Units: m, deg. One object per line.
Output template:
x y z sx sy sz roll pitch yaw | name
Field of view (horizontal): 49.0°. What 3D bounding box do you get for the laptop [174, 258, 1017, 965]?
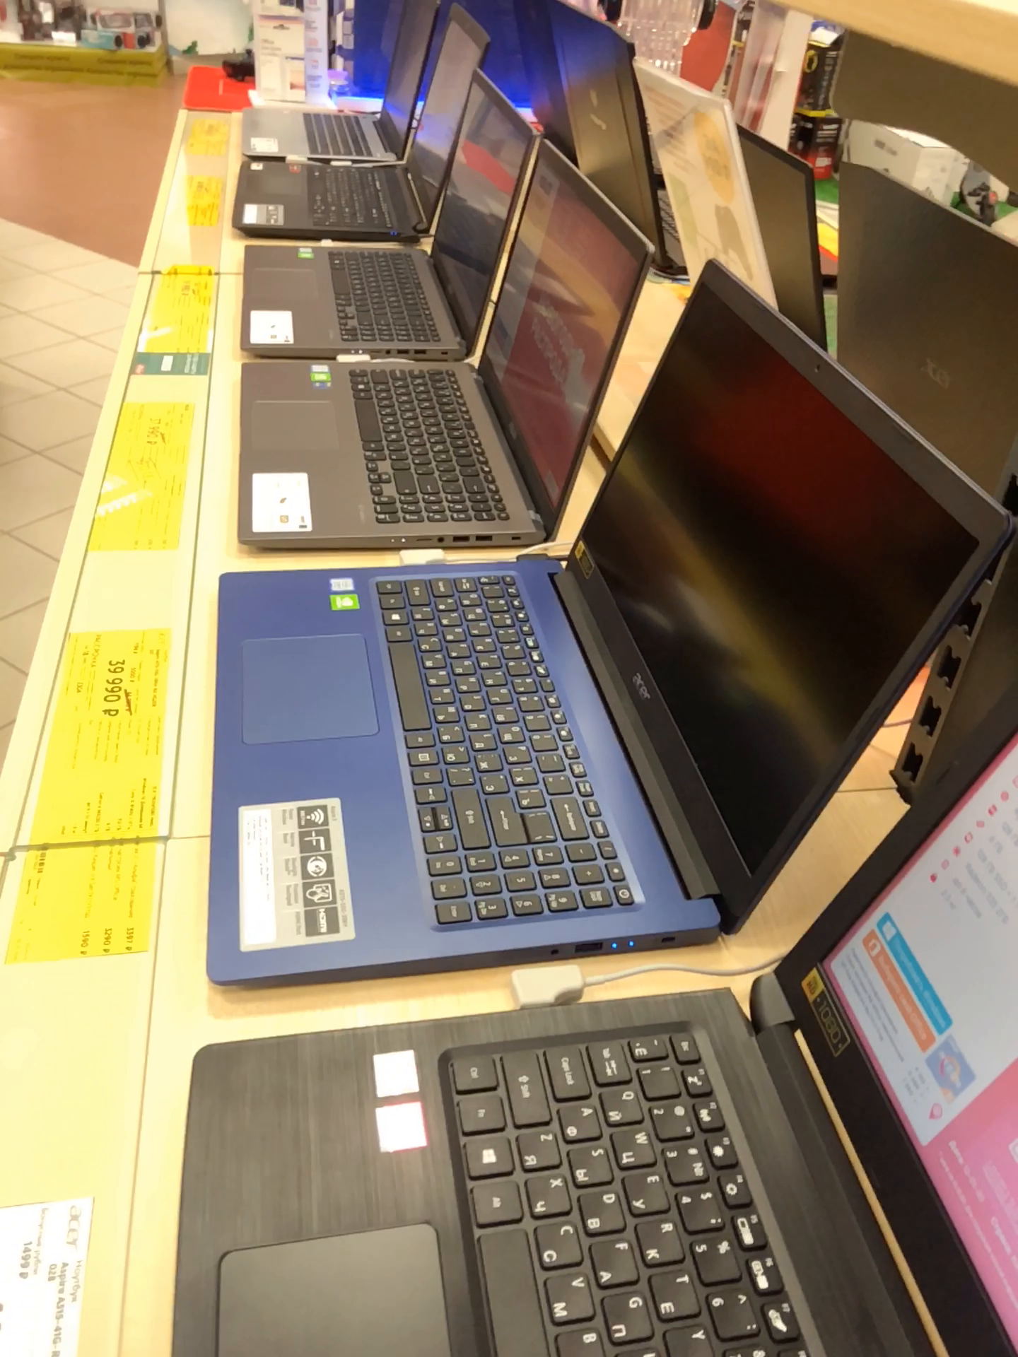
0.004 -0.072 0.624 0.327 0.221 0.359 -4 35 -10 | laptop
